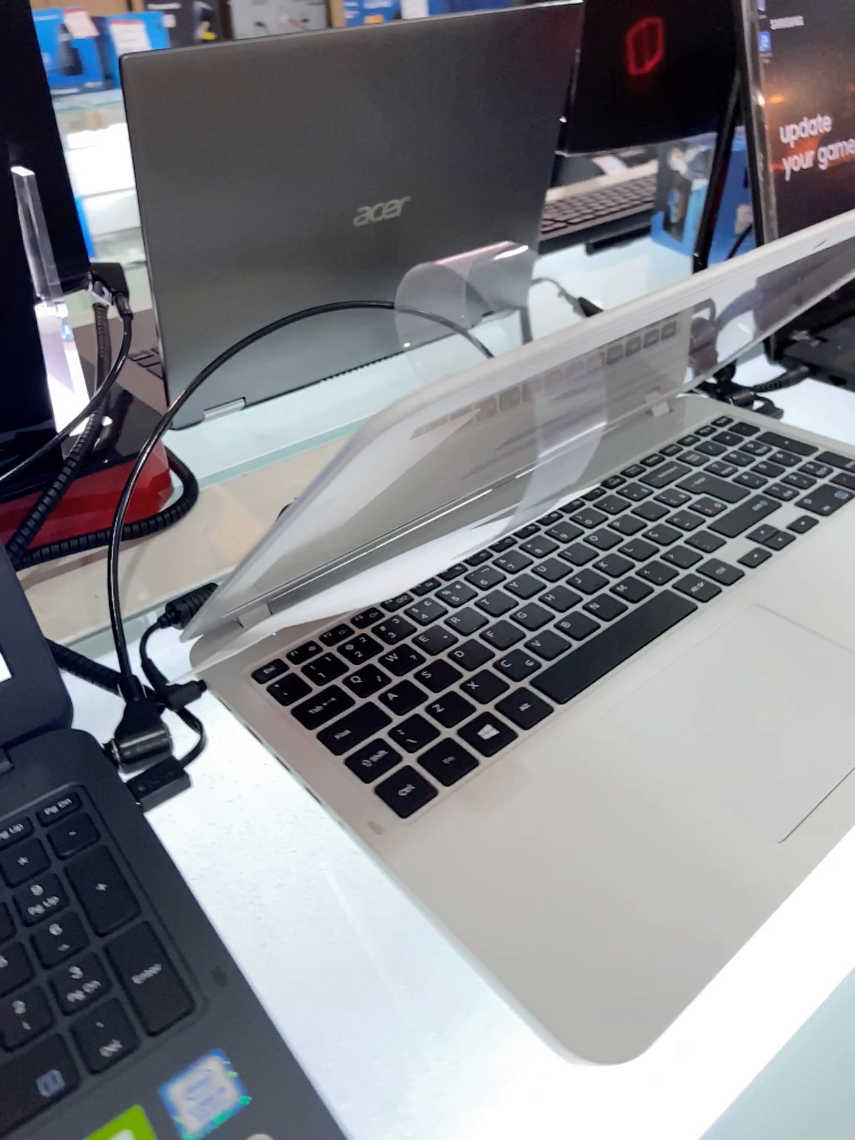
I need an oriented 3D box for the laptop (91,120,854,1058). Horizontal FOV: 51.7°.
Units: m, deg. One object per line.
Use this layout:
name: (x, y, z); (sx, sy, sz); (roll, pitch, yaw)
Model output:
laptop: (0.106, -0.058, 0.359); (0.368, 0.162, 0.232); (-28, 41, -31)
